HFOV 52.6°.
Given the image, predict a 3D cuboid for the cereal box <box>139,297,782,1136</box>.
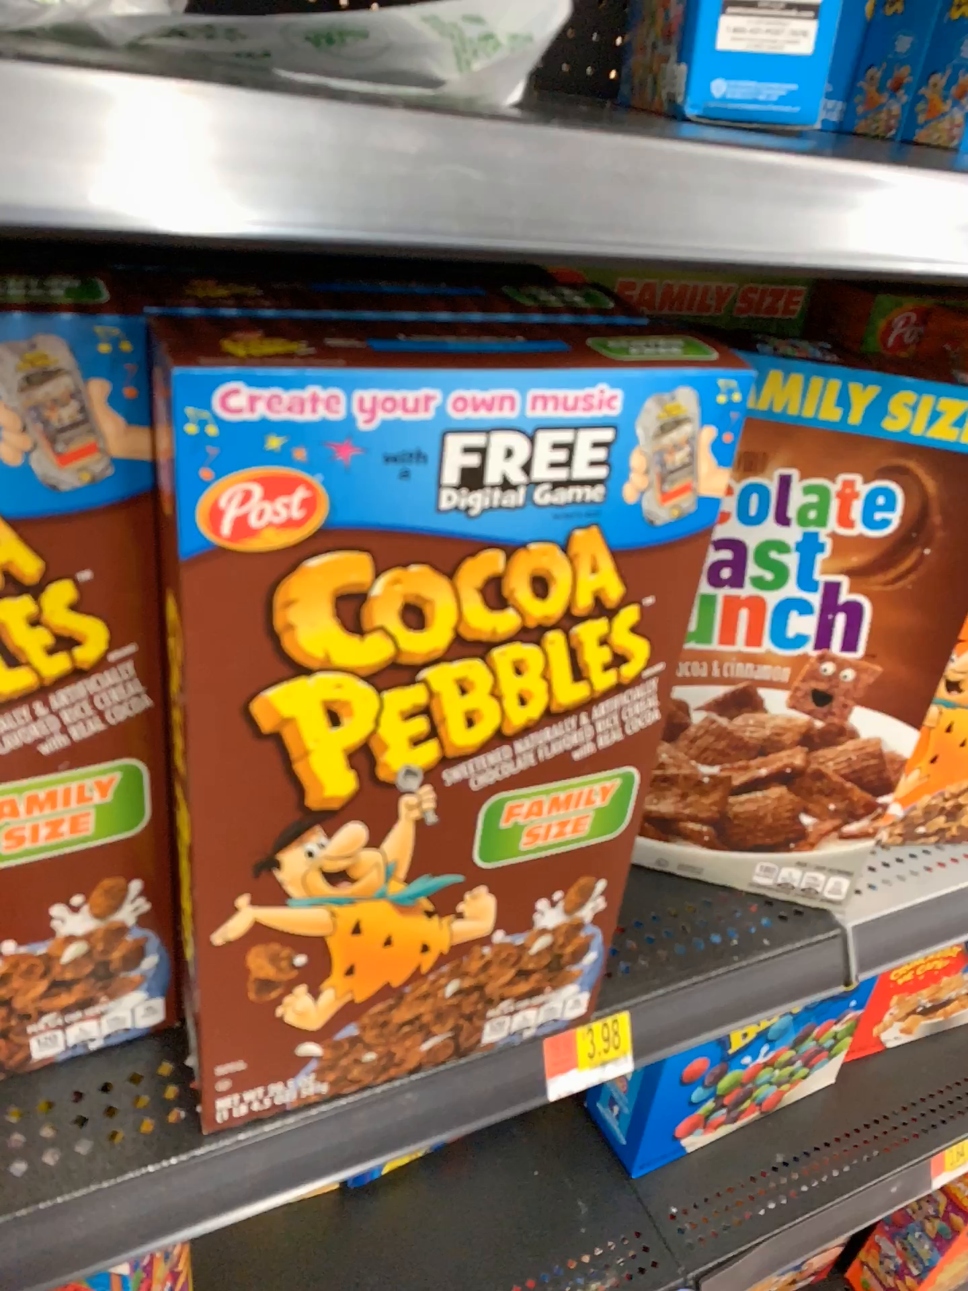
[{"bbox_3d":[-0.022,0.040,0.396,0.200,0.328,0.060,-7,33,-24],"label":"cereal box"}]
